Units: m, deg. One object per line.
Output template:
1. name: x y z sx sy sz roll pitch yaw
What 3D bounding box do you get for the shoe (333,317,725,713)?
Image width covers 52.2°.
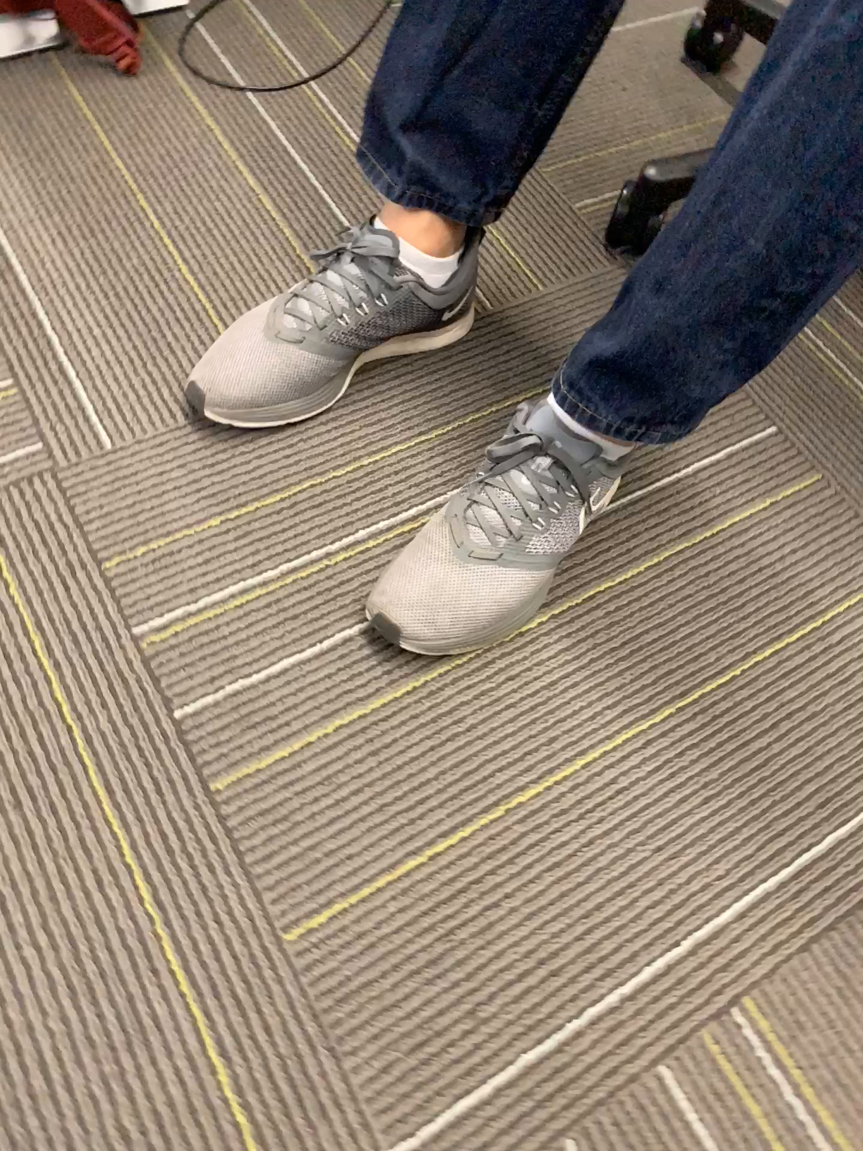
1. shoe: 0.073 -0.052 0.680 0.120 0.123 0.291 43 65 16

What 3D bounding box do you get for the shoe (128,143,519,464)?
1. shoe: -0.086 -0.237 0.755 0.290 0.123 0.120 -31 69 -21
